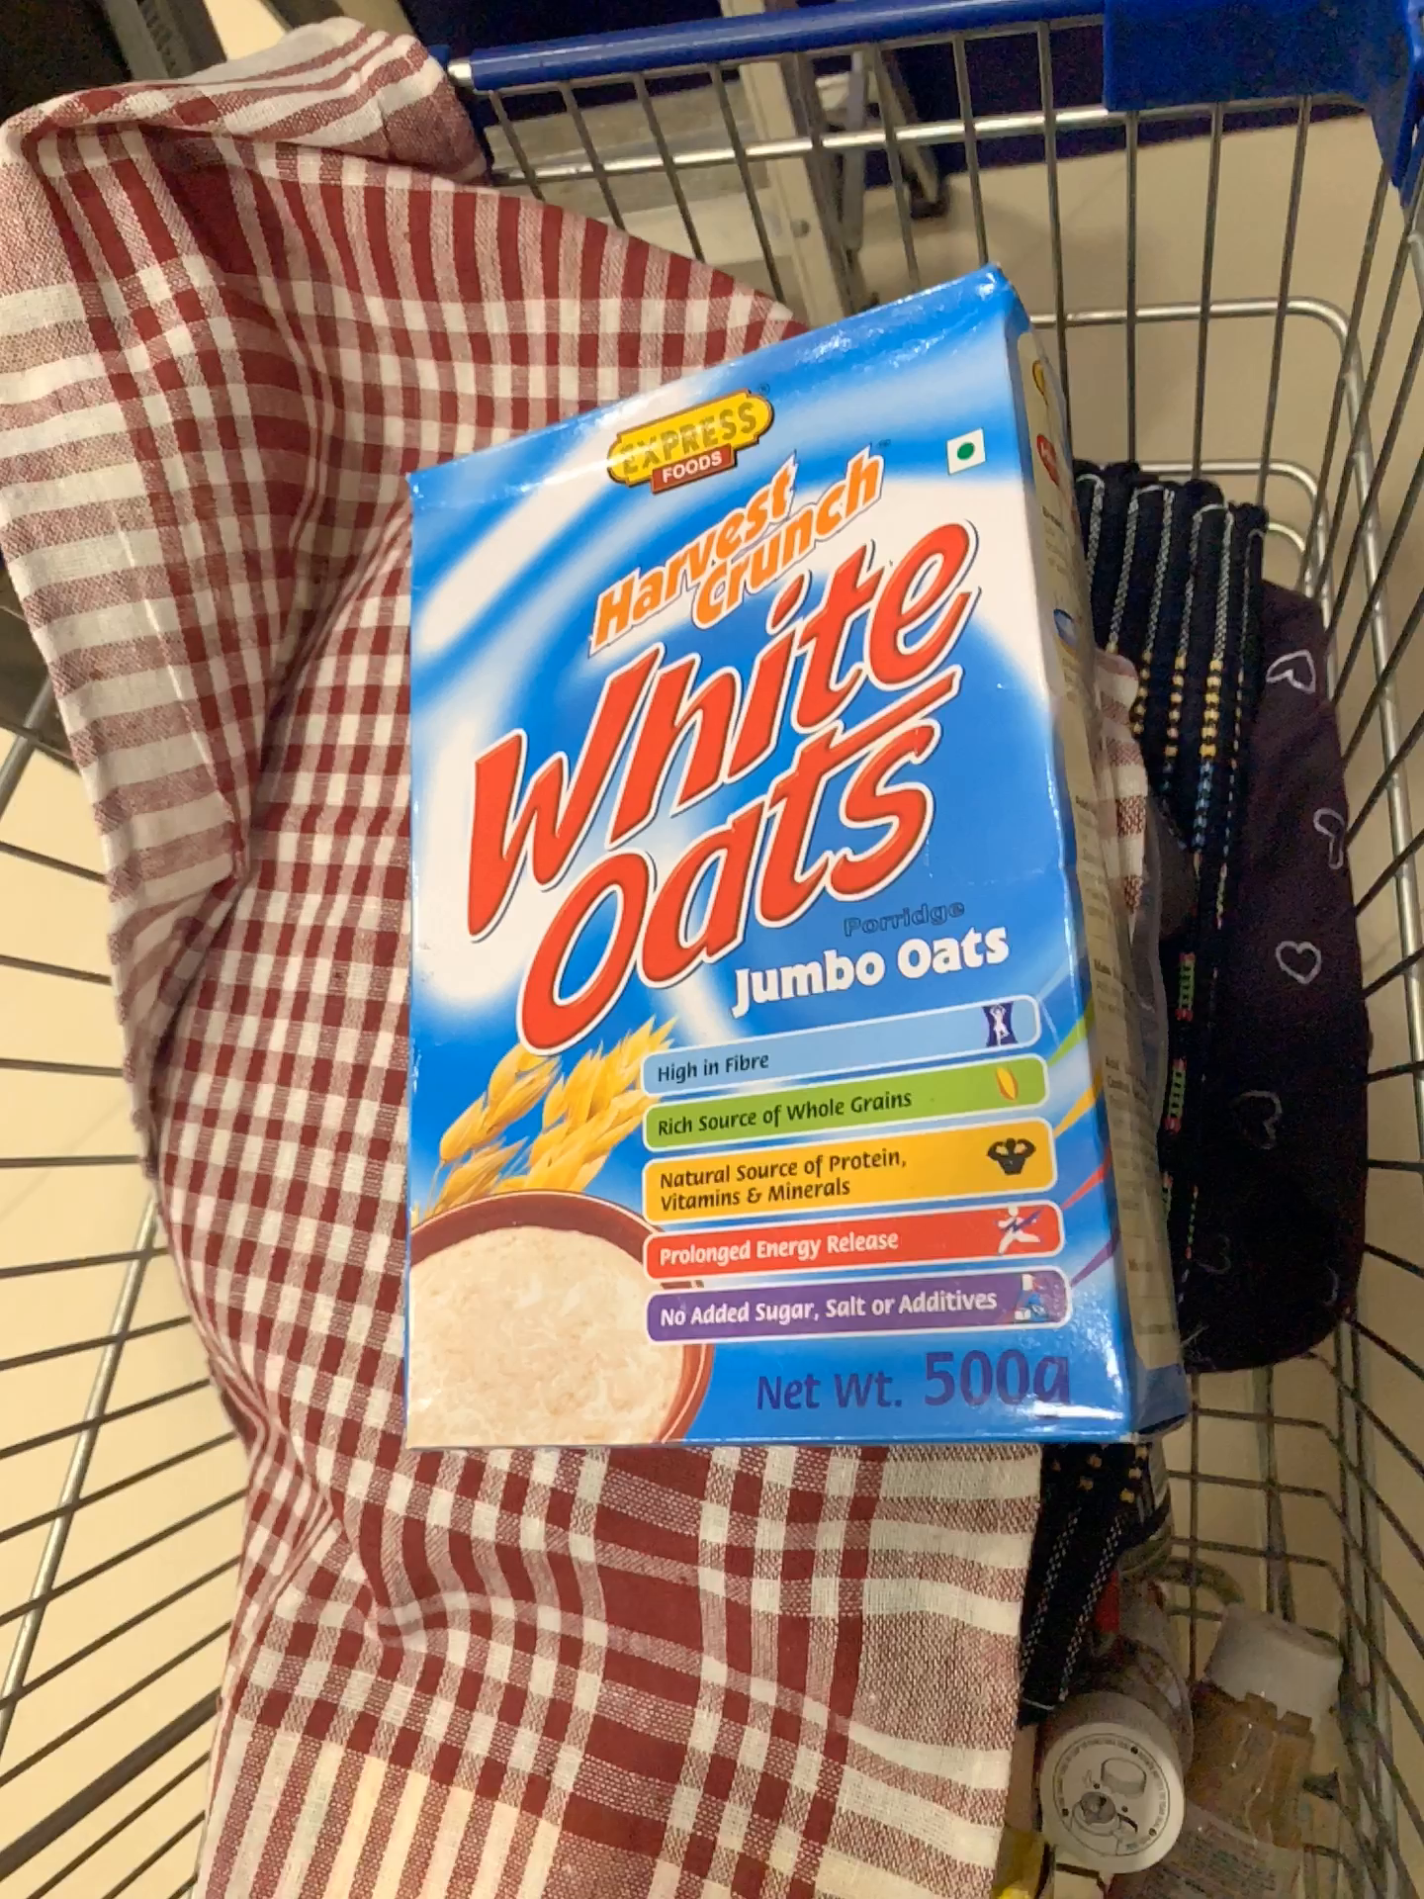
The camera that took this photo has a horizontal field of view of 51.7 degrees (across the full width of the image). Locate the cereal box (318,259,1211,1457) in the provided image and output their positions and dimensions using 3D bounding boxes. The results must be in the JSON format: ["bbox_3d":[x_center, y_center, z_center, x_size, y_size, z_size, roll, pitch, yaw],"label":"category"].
[{"bbox_3d":[0.004,-0.008,0.291,0.150,0.060,0.200,-9,74,24],"label":"cereal box"}]
